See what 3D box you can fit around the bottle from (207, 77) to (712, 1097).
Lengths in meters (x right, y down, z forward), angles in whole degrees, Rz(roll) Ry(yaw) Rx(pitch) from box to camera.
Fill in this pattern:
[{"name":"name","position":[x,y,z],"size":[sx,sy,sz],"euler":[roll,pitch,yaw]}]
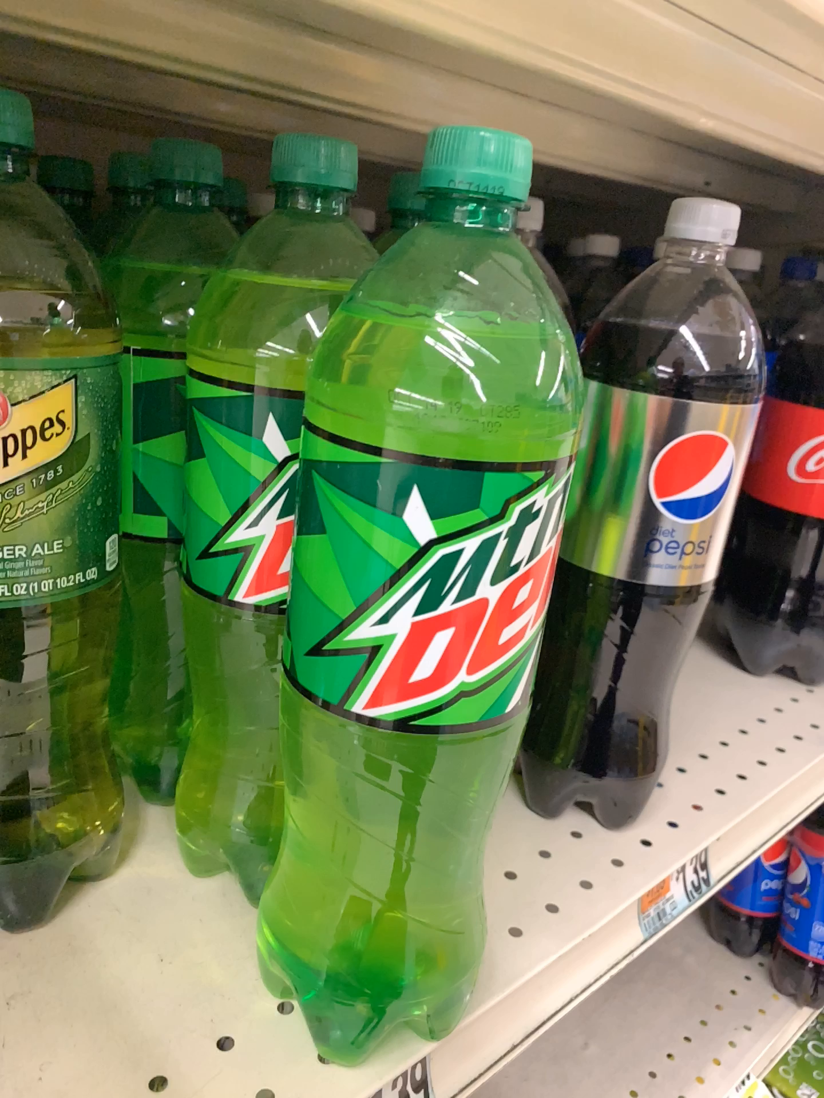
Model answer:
[{"name":"bottle","position":[0.002,0.025,0.285],"size":[0.100,0.302,0.089],"euler":[-9,23,-39]}]
